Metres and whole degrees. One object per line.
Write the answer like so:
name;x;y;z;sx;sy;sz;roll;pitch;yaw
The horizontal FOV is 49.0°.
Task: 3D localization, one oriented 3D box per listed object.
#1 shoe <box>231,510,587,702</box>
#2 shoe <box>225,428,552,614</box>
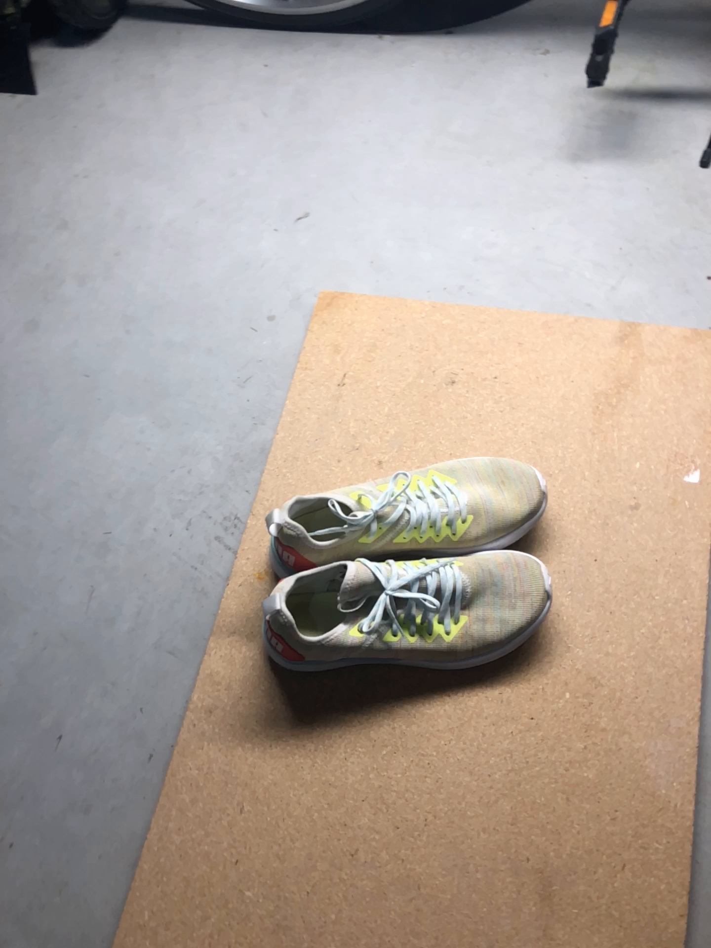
shoe;0.044;0.124;0.729;0.300;0.100;0.100;-8;56;-2
shoe;0.029;0.048;0.793;0.300;0.100;0.110;-8;56;-2
